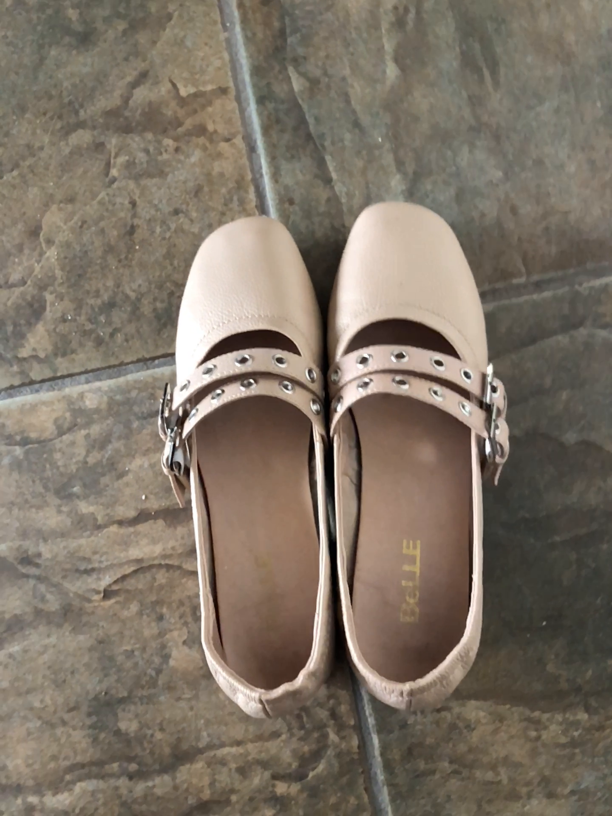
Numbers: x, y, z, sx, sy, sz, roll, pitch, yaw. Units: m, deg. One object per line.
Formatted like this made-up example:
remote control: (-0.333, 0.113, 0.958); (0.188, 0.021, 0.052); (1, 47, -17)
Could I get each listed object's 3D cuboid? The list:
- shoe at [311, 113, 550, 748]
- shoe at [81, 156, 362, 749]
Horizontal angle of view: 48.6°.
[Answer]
shoe: (0.052, 0.009, 0.316); (0.090, 0.090, 0.250); (-1, 87, 5)
shoe: (-0.036, 0.020, 0.341); (0.100, 0.090, 0.250); (-6, 86, 5)
